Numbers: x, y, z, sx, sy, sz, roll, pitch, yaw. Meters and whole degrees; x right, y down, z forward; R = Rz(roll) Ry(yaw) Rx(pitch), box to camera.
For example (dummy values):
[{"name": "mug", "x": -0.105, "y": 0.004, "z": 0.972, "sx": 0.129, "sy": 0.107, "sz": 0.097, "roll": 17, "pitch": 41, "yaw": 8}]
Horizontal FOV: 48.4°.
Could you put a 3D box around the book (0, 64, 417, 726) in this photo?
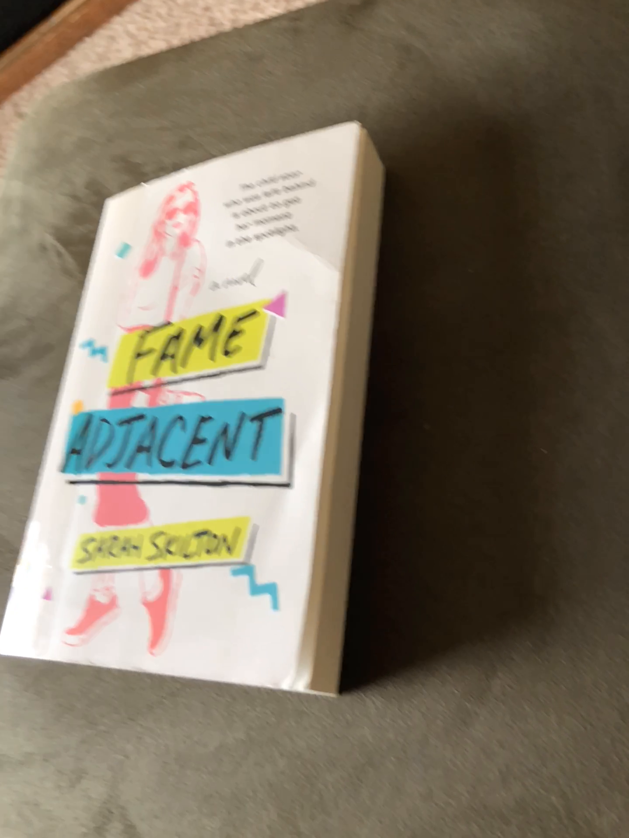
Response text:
[{"name": "book", "x": -0.042, "y": -0.013, "z": 0.265, "sx": 0.140, "sy": 0.040, "sz": 0.220, "roll": -5, "pitch": 67, "yaw": 30}]
